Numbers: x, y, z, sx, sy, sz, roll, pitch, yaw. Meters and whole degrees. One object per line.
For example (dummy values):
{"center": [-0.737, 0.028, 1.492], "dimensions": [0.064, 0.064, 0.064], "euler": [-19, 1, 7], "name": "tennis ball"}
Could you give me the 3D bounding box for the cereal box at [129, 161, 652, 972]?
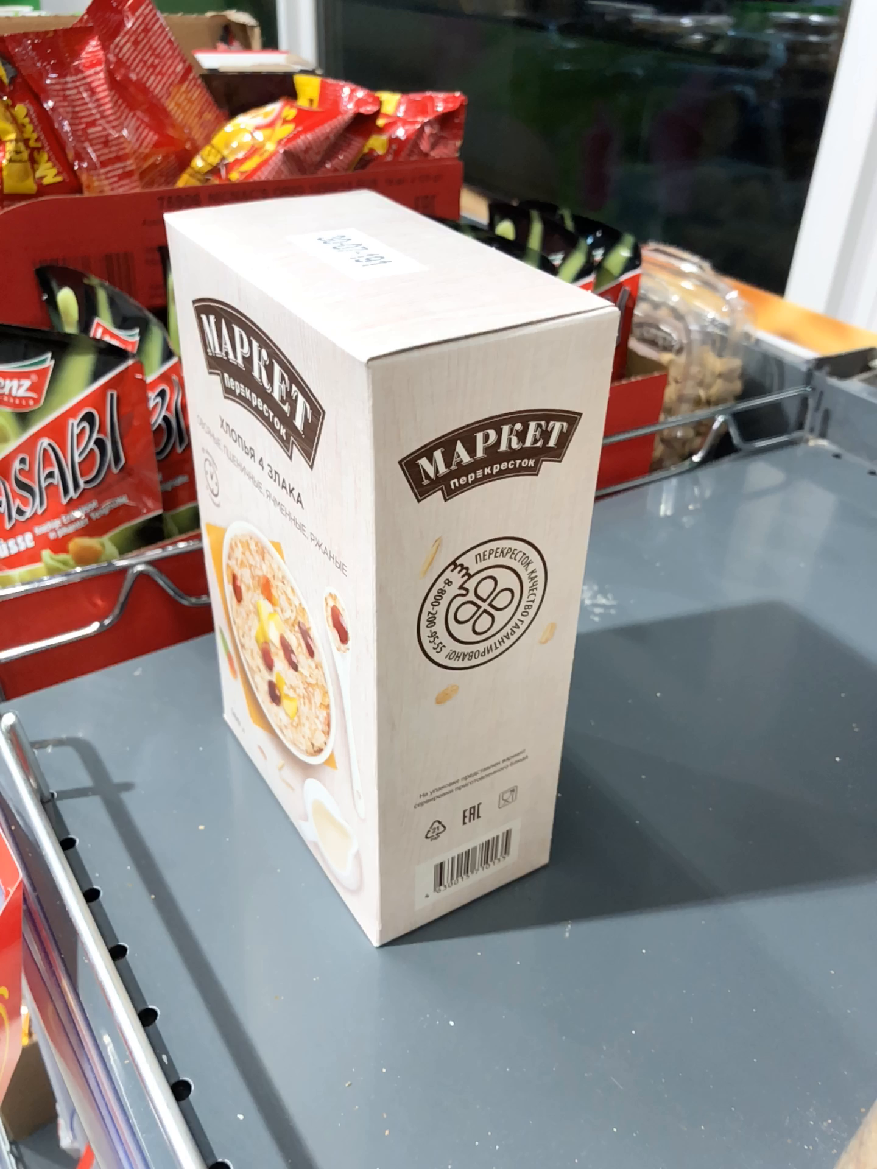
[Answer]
{"center": [-0.023, -0.009, 0.289], "dimensions": [0.070, 0.189, 0.131], "euler": [-18, 39, -28], "name": "cereal box"}
